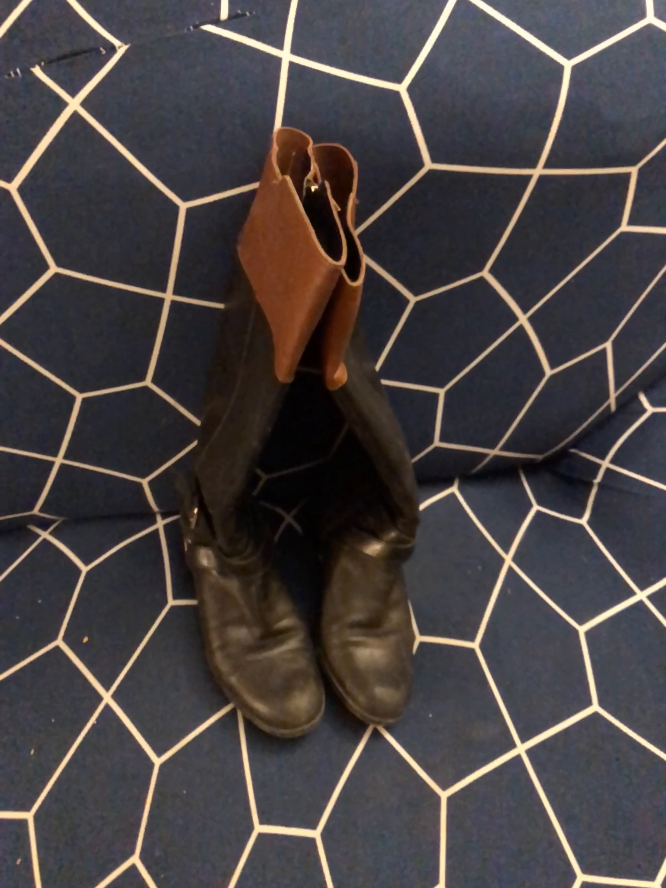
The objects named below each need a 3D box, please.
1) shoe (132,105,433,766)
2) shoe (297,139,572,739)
[{"bbox_3d":[-0.060,0.026,0.545,0.110,0.428,0.272,-7,52,-12],"label":"shoe"},{"bbox_3d":[0.031,0.027,0.528,0.100,0.378,0.251,0,53,-5],"label":"shoe"}]
